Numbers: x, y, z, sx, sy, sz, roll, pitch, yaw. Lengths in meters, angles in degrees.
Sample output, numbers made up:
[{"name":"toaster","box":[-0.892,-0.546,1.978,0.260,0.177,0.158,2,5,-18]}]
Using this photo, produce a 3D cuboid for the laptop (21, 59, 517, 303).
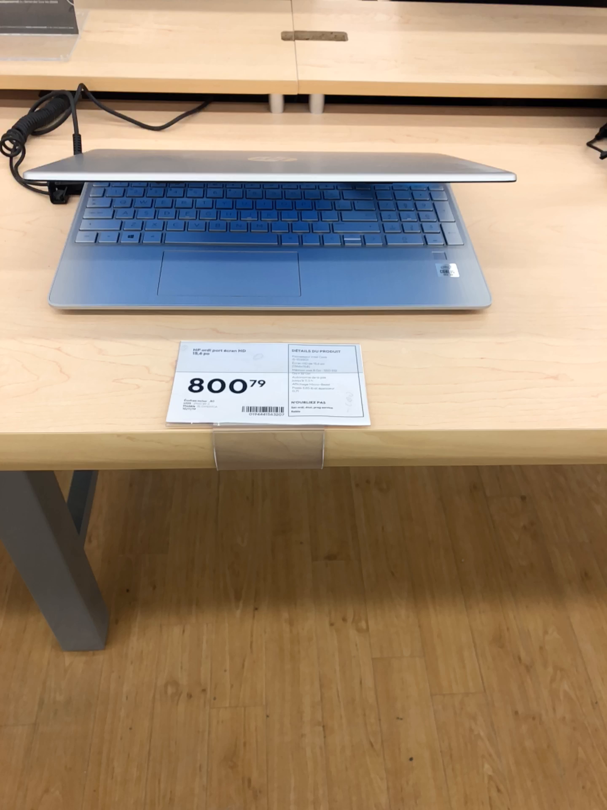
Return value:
[{"name":"laptop","box":[-0.025,-0.194,0.564,0.340,0.086,0.224,-1,50,-4]}]
